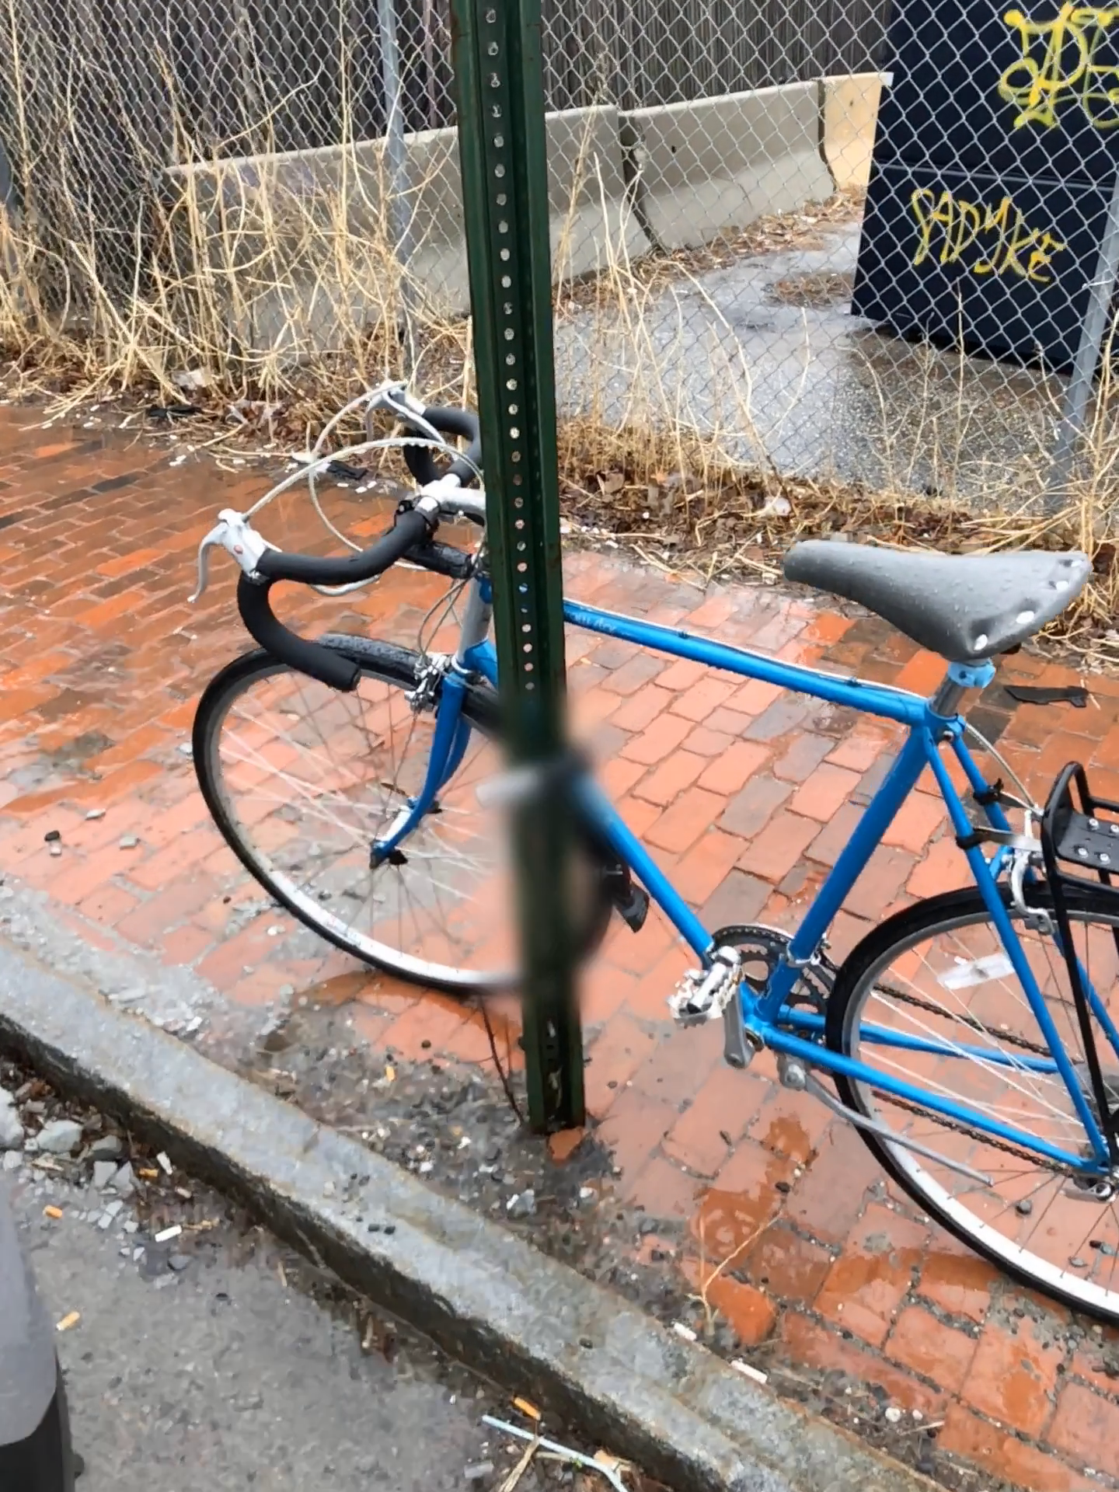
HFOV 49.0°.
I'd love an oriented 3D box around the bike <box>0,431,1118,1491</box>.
[{"bbox_3d":[0.155,0.248,1.640,1.866,0.919,0.474,17,35,26],"label":"bike"}]
